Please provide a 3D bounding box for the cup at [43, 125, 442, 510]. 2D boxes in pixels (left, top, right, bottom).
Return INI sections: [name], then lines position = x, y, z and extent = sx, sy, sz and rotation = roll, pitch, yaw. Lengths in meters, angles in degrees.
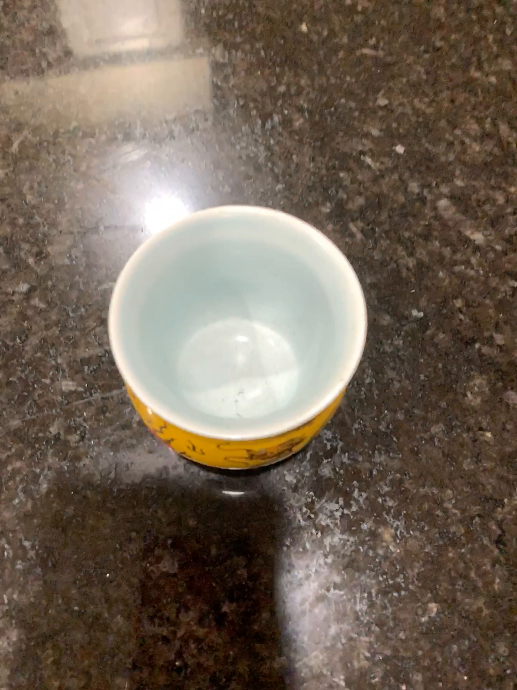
[cup]
position = -0.005, -0.005, 0.171
extent = 0.075, 0.066, 0.072
rotation = 1, 68, -2
